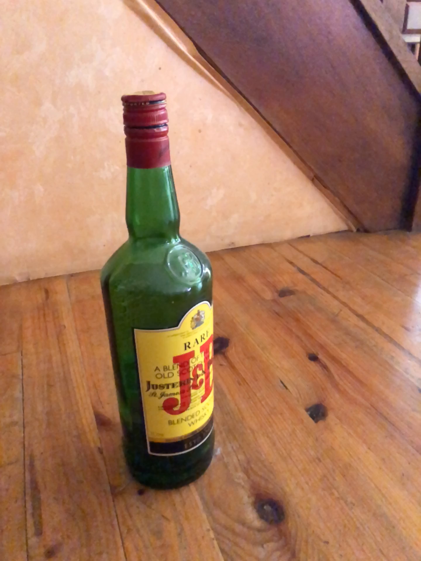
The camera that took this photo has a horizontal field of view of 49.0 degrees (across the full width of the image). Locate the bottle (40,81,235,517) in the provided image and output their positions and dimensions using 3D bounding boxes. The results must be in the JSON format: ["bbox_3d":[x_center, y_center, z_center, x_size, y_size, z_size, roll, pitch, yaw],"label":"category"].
[{"bbox_3d":[-0.042,0.023,0.359,0.080,0.318,0.090,23,36,39],"label":"bottle"}]
